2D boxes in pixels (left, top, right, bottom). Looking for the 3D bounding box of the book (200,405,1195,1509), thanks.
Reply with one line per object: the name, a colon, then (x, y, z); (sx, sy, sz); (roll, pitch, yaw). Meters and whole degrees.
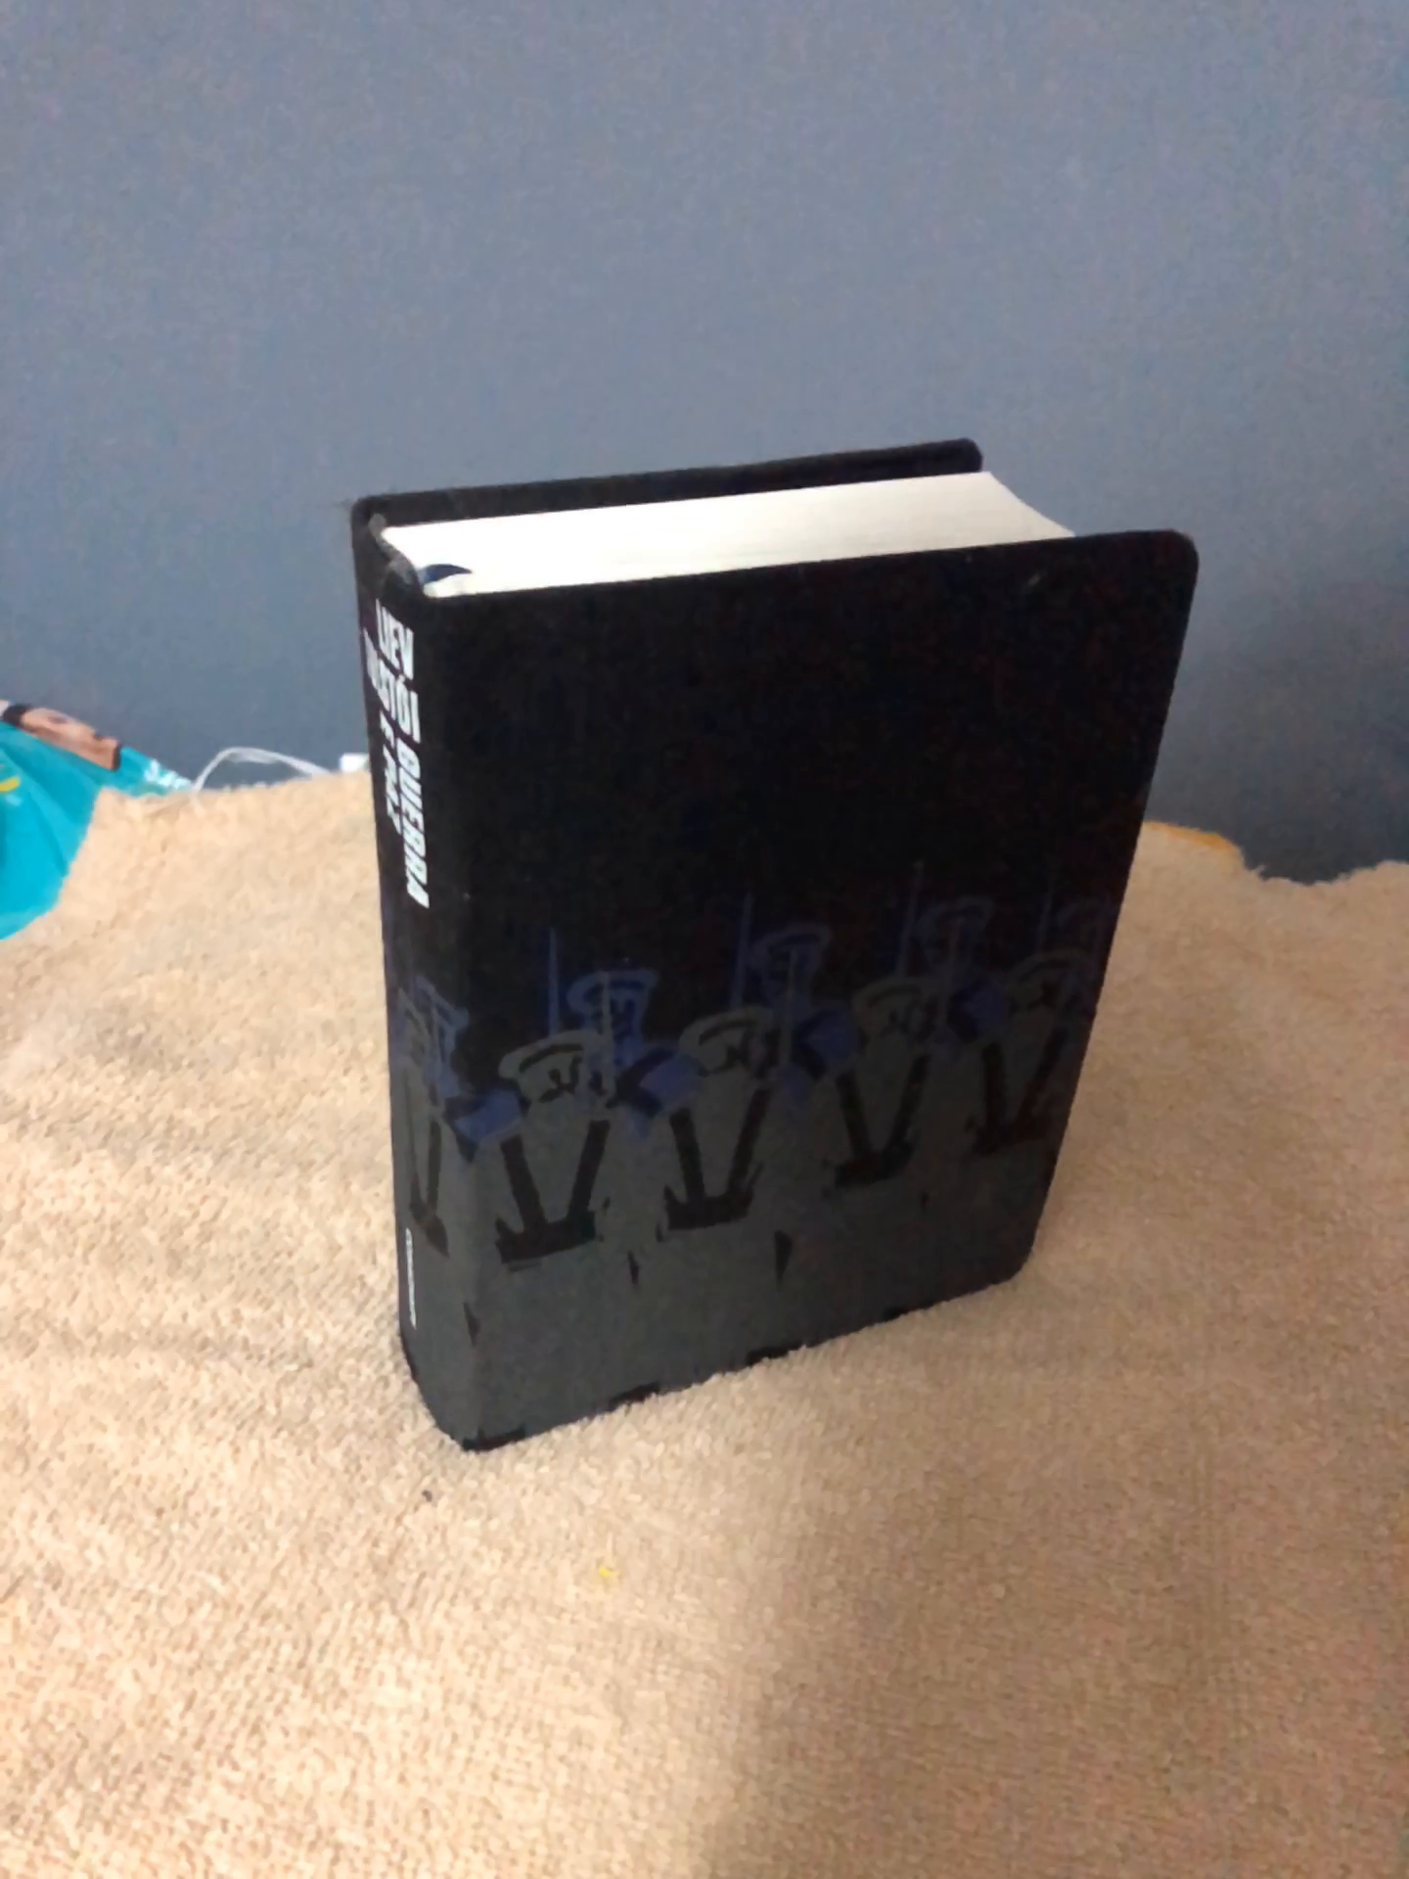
book: (-0.002, 0.002, 0.301); (0.150, 0.179, 0.060); (-13, 35, -22)
